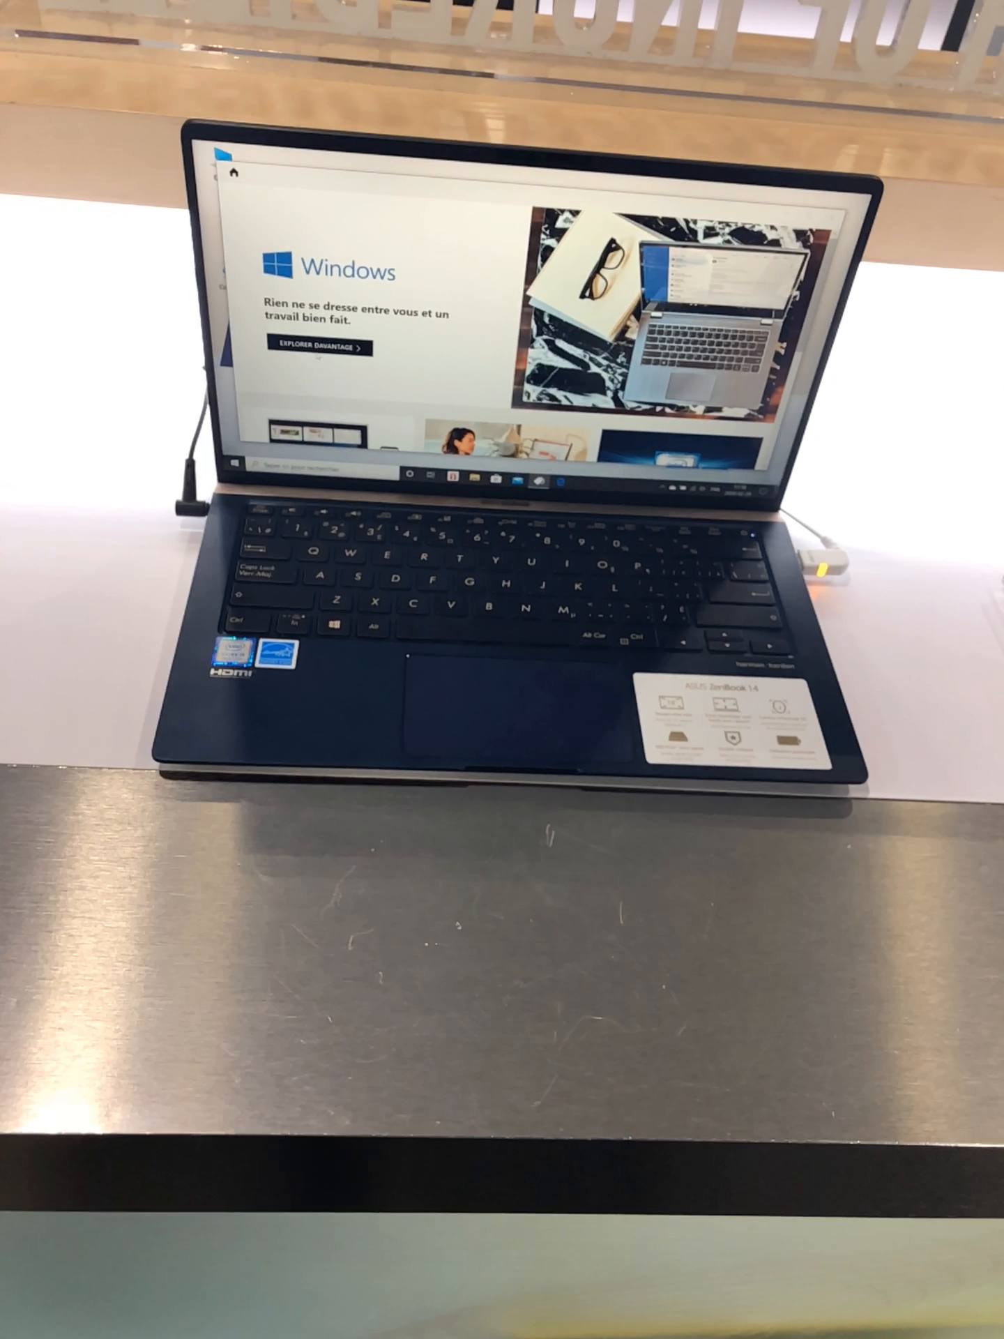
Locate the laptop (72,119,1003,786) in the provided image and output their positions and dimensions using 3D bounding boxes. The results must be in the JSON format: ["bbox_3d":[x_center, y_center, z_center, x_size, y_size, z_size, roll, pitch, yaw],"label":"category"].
[{"bbox_3d":[0.014,-0.087,0.466,0.301,0.182,0.192,2,45,-6],"label":"laptop"}]
